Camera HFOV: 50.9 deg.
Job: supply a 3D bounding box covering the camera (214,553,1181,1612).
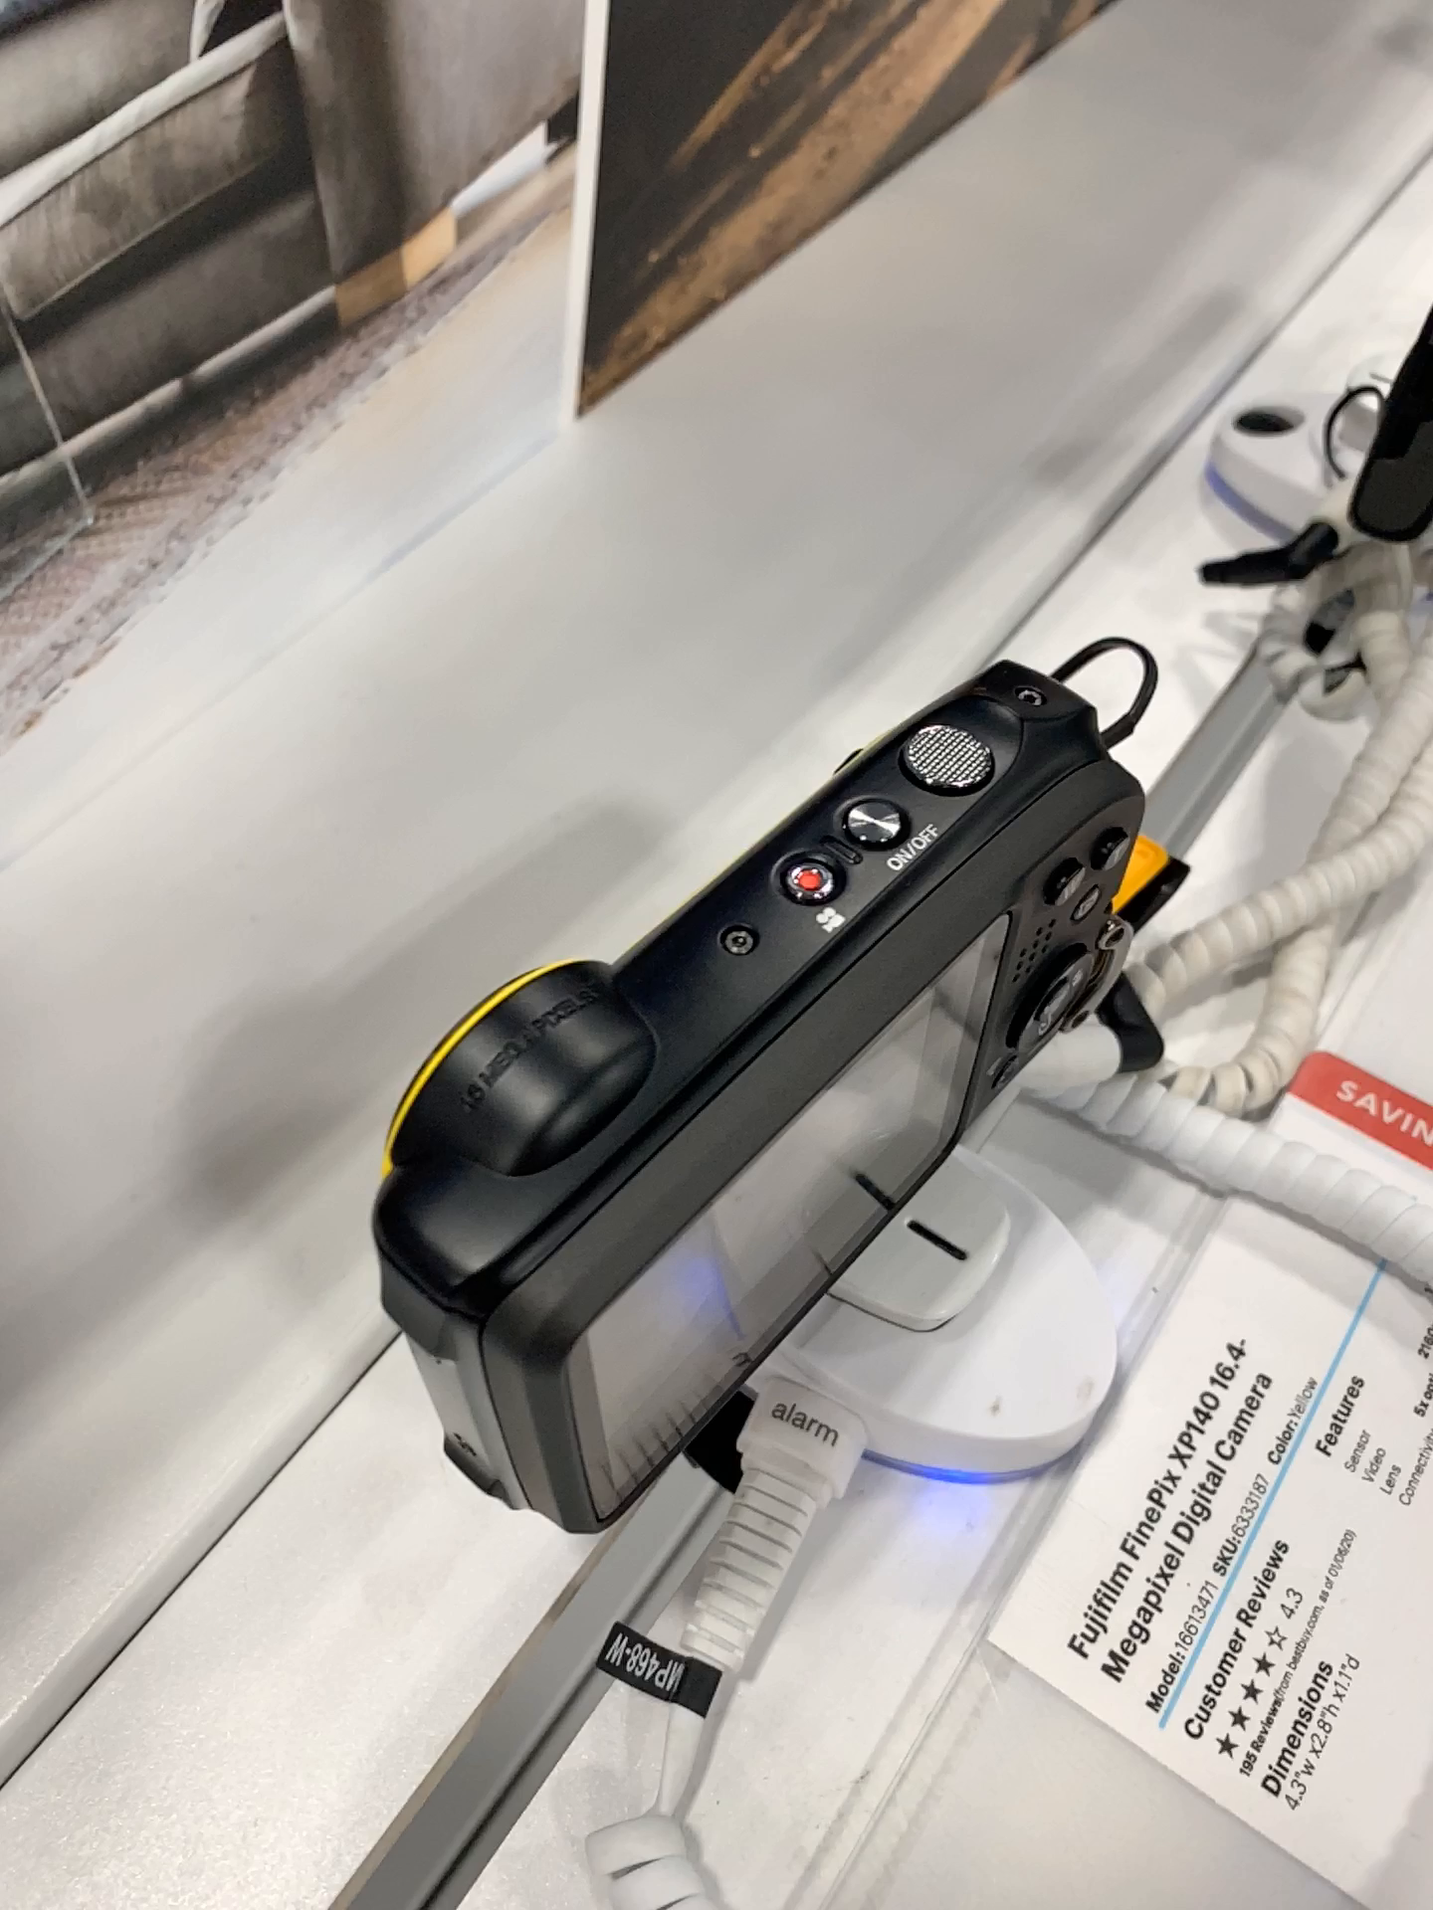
[{"bbox_3d":[0.004,0.010,0.178,0.040,0.060,0.110,32,56,22],"label":"camera"}]
